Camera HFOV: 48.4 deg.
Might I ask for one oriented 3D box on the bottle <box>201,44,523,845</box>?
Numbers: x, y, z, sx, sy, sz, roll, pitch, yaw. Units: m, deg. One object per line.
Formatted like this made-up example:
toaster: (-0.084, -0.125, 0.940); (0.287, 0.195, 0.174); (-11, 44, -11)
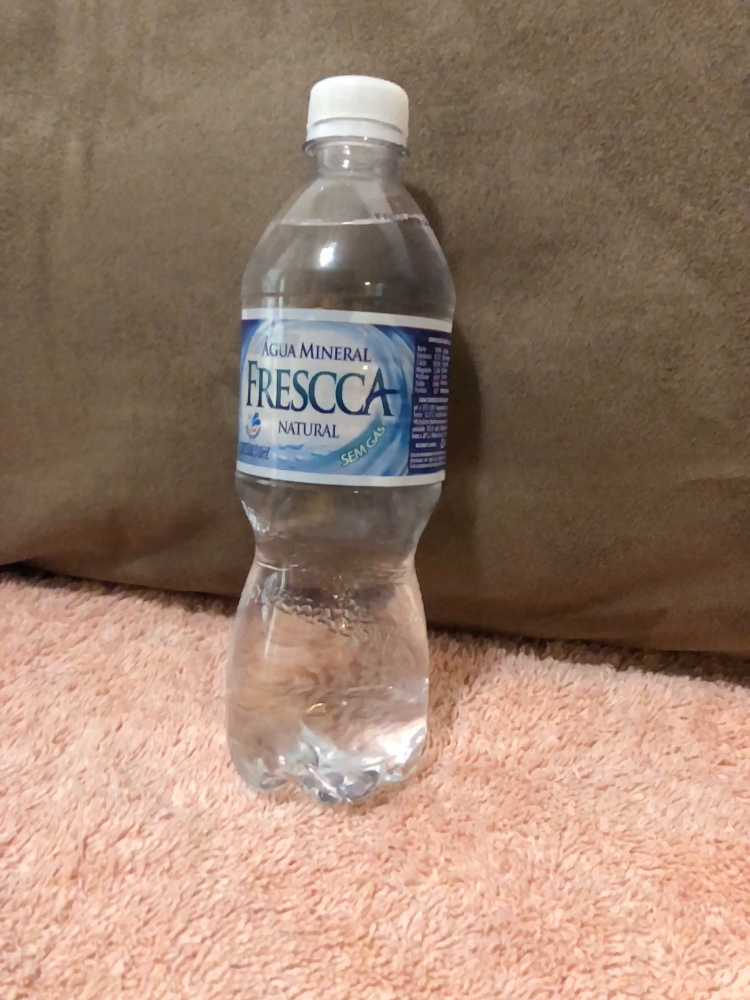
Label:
bottle: (-0.002, -0.016, 0.267); (0.070, 0.209, 0.080); (6, 9, 21)
